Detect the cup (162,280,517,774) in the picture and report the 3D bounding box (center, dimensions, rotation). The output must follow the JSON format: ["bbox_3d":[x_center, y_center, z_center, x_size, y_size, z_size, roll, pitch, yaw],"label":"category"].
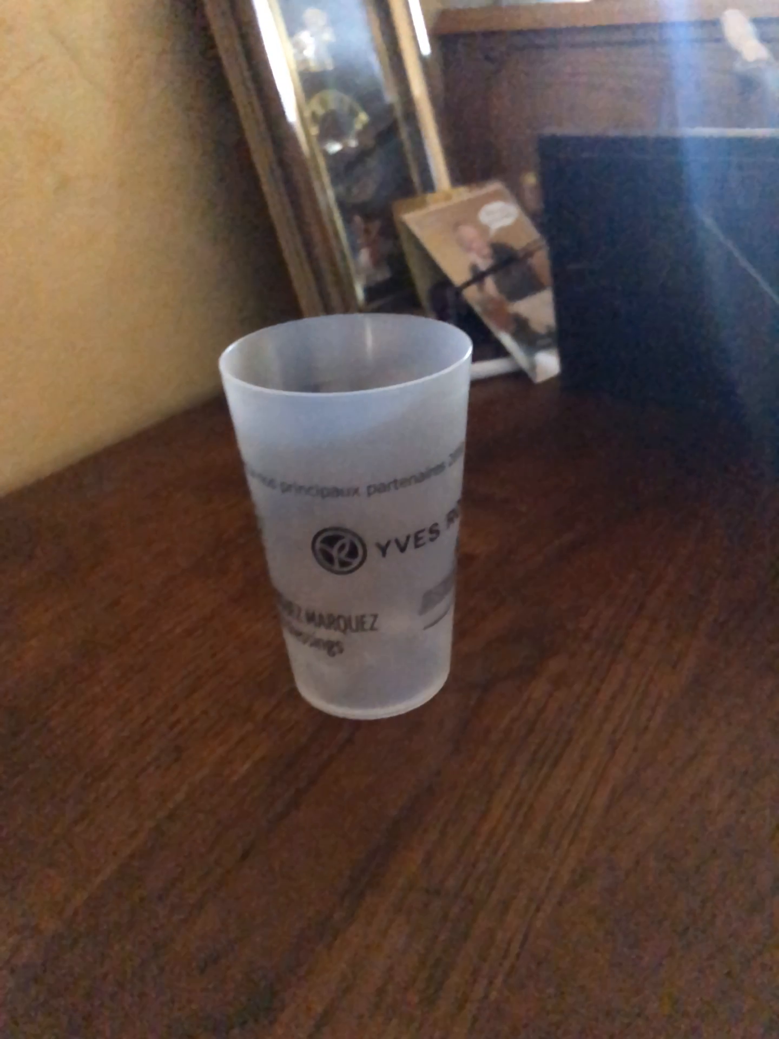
[{"bbox_3d":[-0.012,-0.002,0.270,0.070,0.119,0.070,-2,29,1],"label":"cup"}]
